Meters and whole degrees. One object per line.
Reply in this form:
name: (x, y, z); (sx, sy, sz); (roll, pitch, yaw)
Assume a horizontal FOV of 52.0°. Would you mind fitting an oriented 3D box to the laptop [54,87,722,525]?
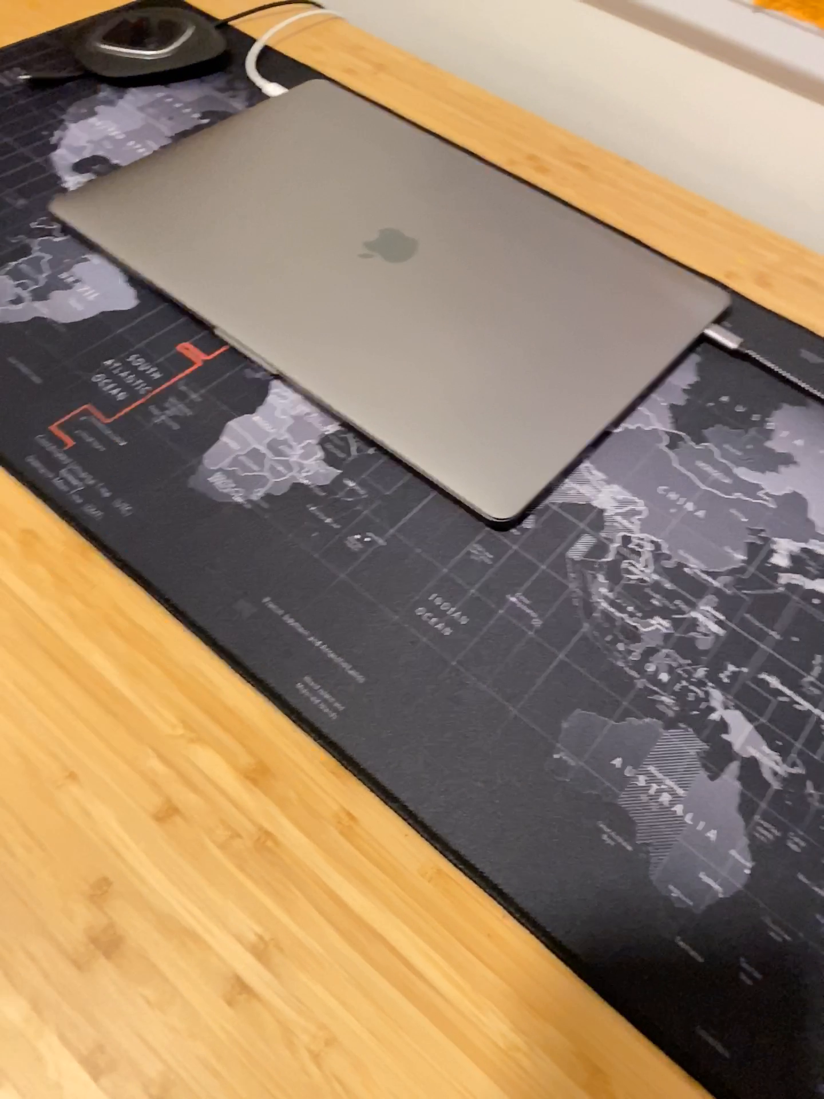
laptop: (-0.015, -0.174, 0.502); (0.336, 0.002, 0.227); (36, 59, 20)
